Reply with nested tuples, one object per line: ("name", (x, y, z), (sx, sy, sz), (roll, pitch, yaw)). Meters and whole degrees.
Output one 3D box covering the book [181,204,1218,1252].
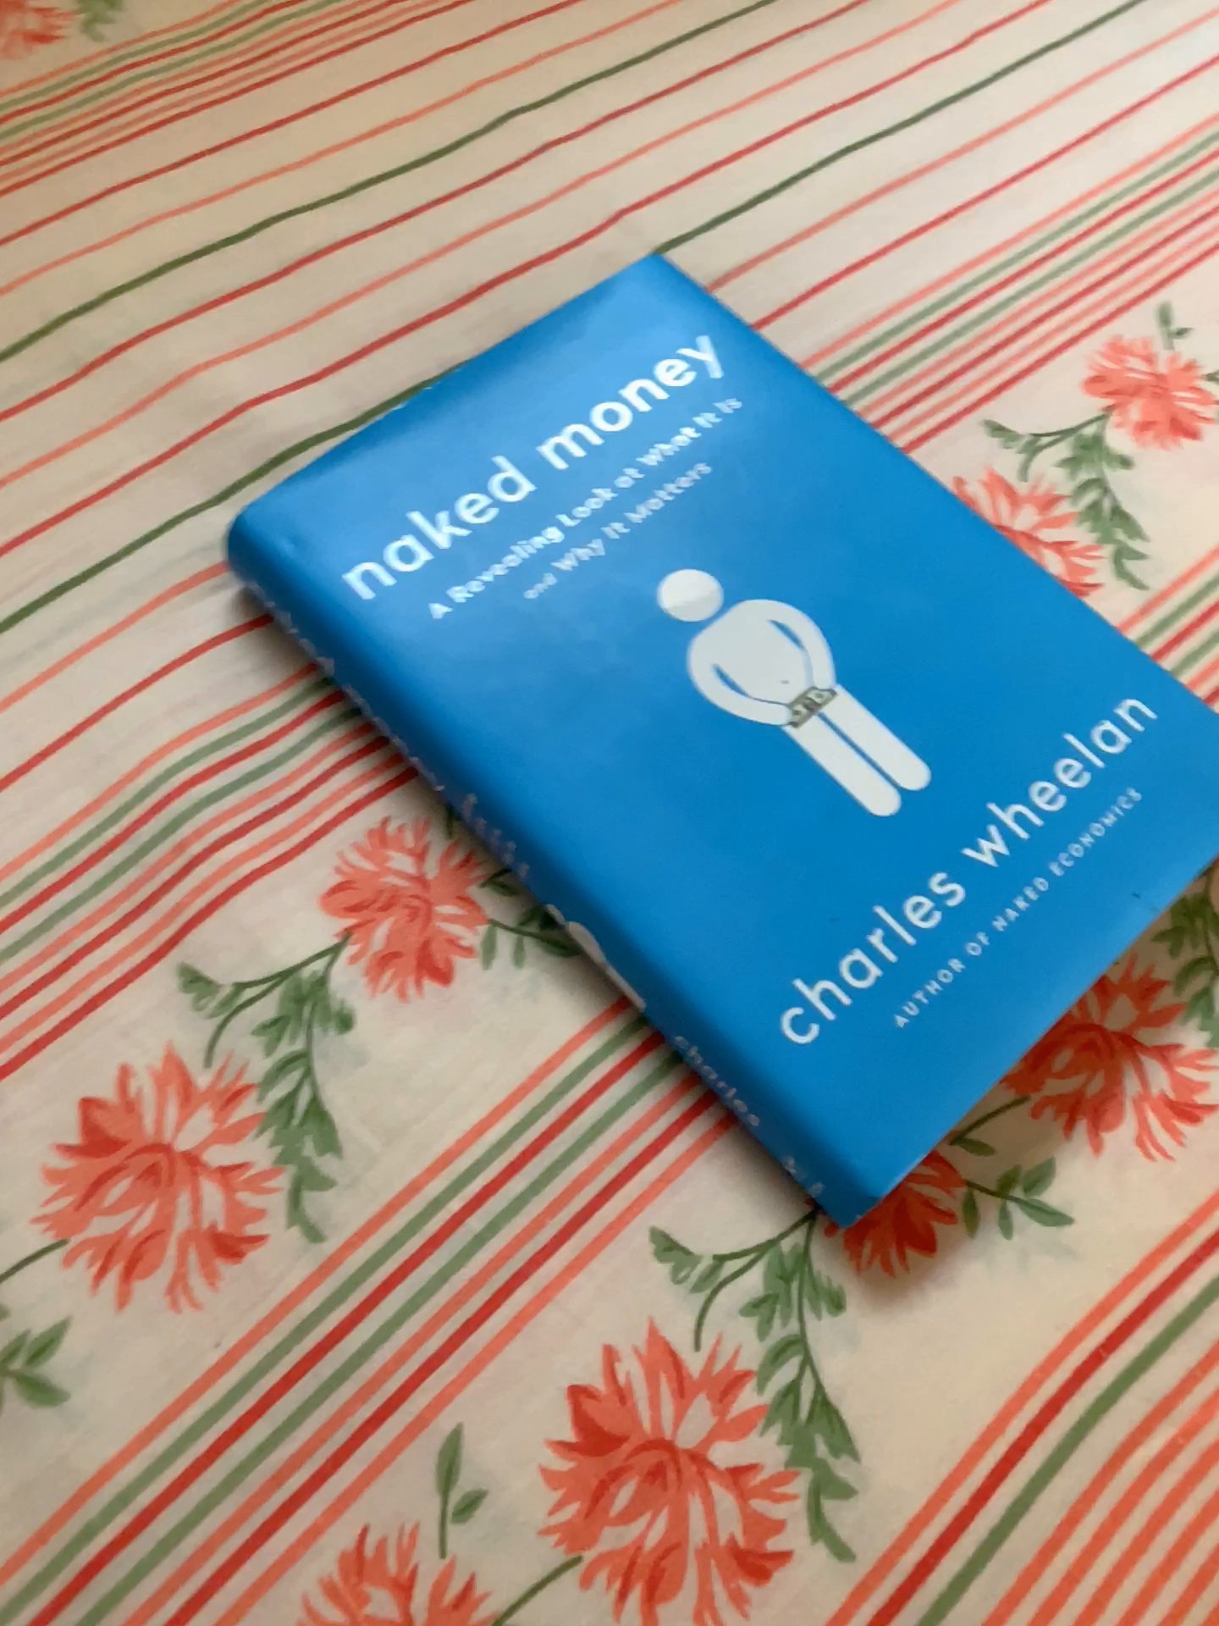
("book", (0.034, -0.043, 0.336), (0.171, 0.040, 0.251), (-38, 71, -20))
